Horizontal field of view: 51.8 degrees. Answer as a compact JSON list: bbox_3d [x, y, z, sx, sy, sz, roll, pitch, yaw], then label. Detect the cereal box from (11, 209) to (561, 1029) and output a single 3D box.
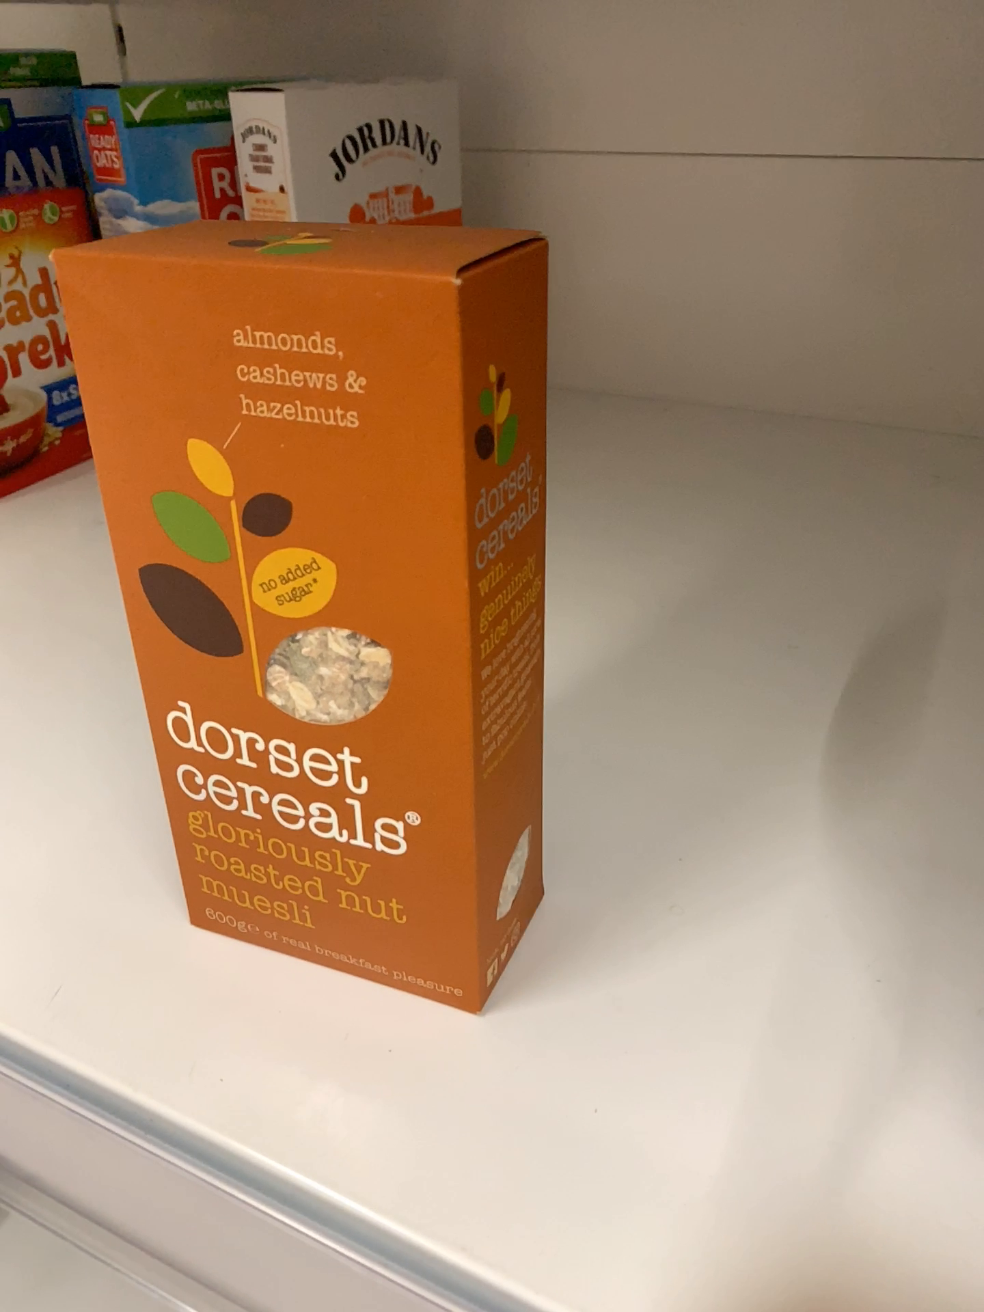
[{"bbox_3d":[-0.046,-0.006,0.306,0.120,0.228,0.061,10,32,20],"label":"cereal box"}]
